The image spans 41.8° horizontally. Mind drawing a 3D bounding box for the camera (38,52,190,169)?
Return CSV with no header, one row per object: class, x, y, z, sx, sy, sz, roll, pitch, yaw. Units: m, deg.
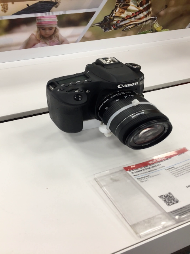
camera,0.030,-0.033,0.364,0.160,0.094,0.137,-17,44,-20
